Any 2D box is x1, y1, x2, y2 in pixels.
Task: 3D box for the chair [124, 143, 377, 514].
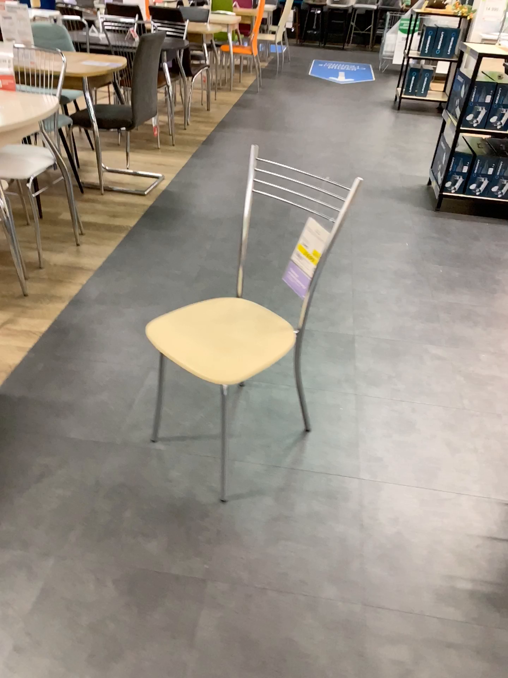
[{"bbox_3d":[-0.026,-0.033,1.544,0.411,0.905,0.482,30,42,32],"label":"chair"}]
